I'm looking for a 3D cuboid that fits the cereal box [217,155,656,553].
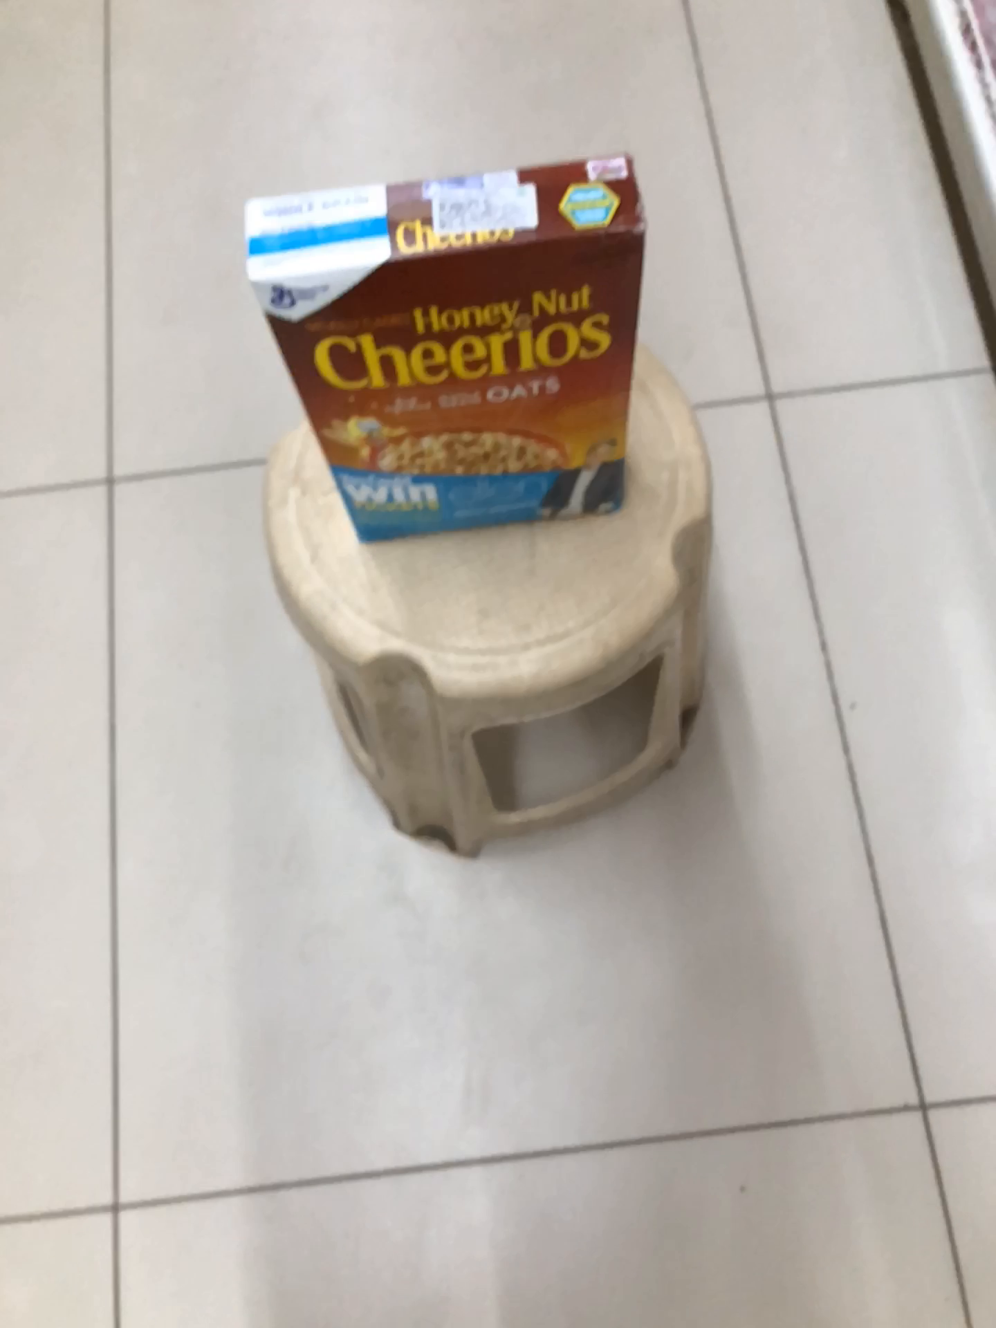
[{"bbox_3d":[-0.025,-0.152,0.623,0.190,0.279,0.050,-7,73,-1],"label":"cereal box"}]
